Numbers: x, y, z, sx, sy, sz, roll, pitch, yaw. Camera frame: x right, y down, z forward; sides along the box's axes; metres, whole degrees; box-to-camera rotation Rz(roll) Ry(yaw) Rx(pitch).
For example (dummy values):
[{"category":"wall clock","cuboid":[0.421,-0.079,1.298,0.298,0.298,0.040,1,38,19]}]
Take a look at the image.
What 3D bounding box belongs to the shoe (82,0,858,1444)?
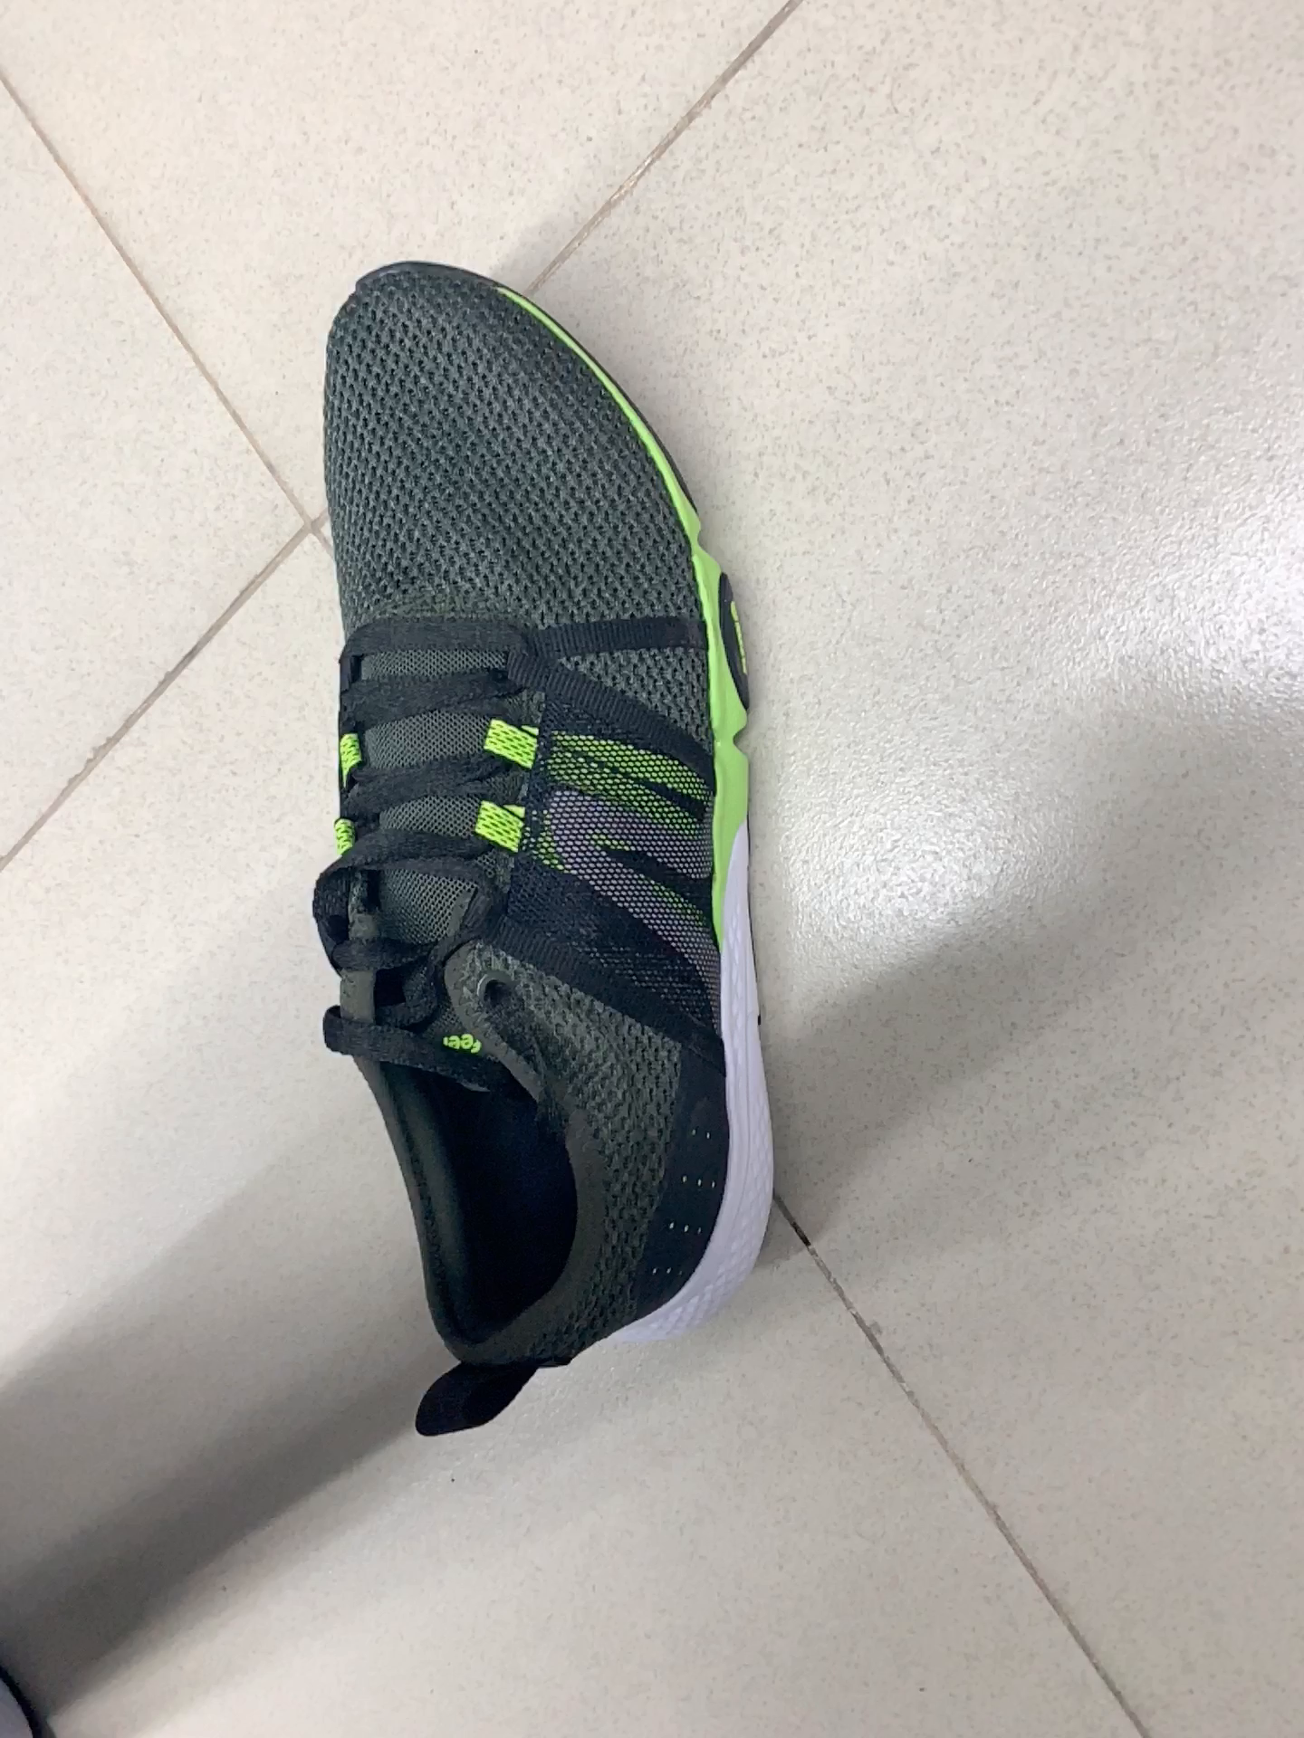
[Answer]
[{"category":"shoe","cuboid":[-0.038,-0.024,0.343,0.110,0.100,0.300,-9,93,25]}]
